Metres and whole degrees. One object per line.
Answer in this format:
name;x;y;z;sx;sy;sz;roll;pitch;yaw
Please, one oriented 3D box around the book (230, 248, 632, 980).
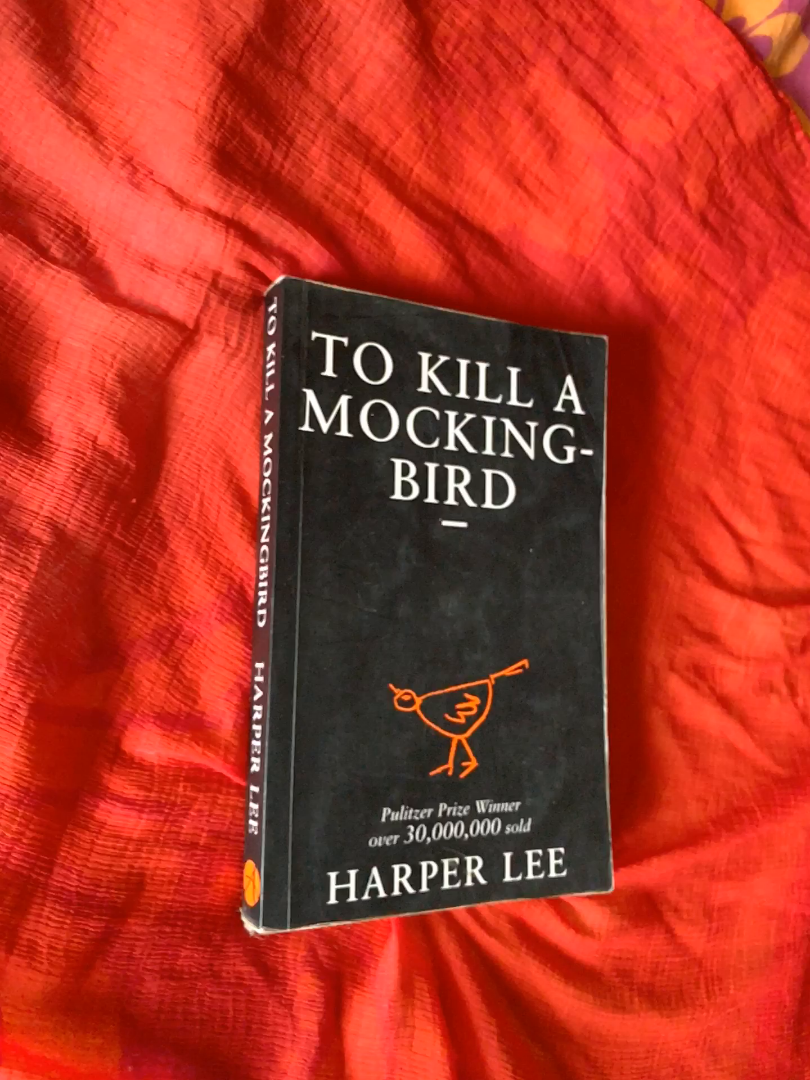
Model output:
book;0.011;0.019;0.253;0.110;0.040;0.180;4;83;-28
